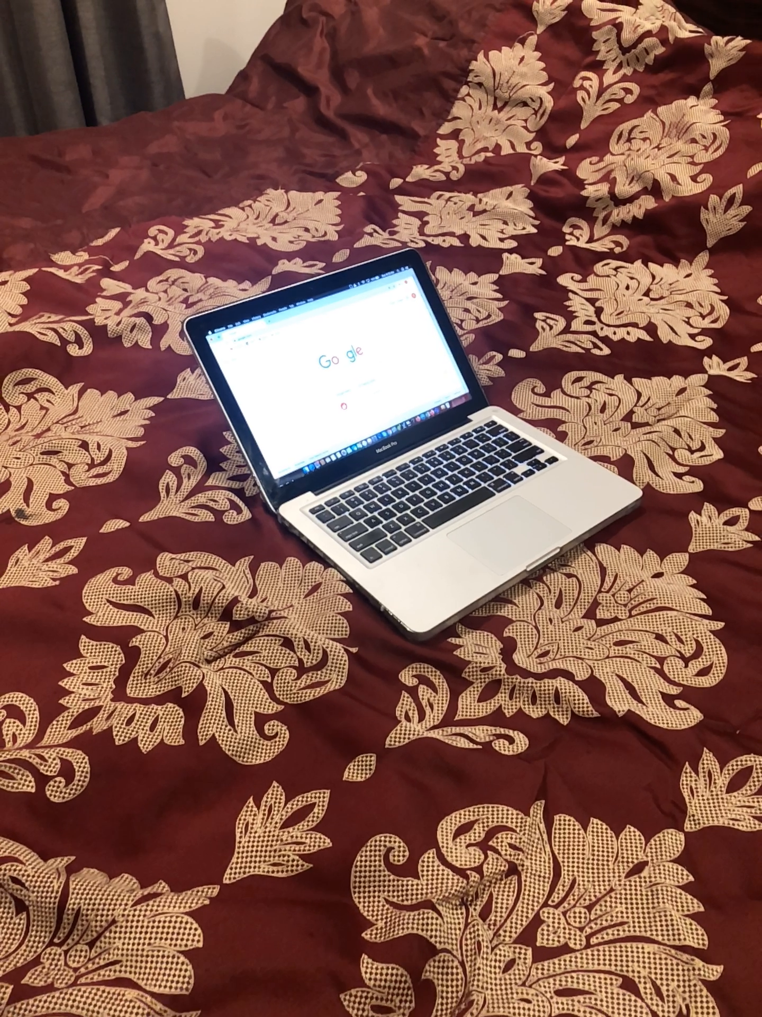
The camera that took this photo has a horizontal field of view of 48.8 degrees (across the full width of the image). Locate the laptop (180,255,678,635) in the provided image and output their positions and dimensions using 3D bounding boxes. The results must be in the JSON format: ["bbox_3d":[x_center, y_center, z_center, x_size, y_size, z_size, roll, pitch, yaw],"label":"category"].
[{"bbox_3d":[0.034,-0.090,0.798,0.292,0.133,0.343,-27,47,-30],"label":"laptop"}]
